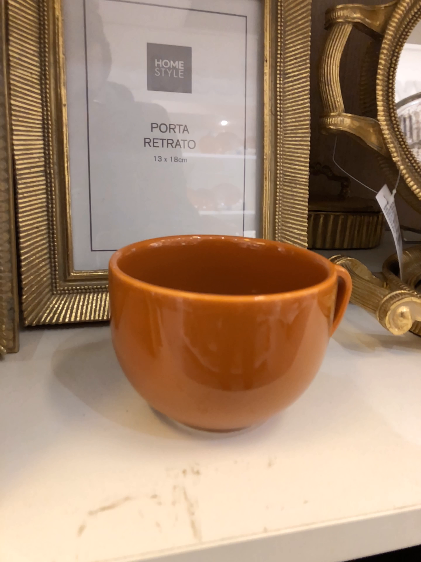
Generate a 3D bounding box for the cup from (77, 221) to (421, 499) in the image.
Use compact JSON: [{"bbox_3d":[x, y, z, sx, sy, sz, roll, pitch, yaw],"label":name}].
[{"bbox_3d":[0.016,0.017,0.199,0.120,0.060,0.090,-8,22,-28],"label":"cup"}]
